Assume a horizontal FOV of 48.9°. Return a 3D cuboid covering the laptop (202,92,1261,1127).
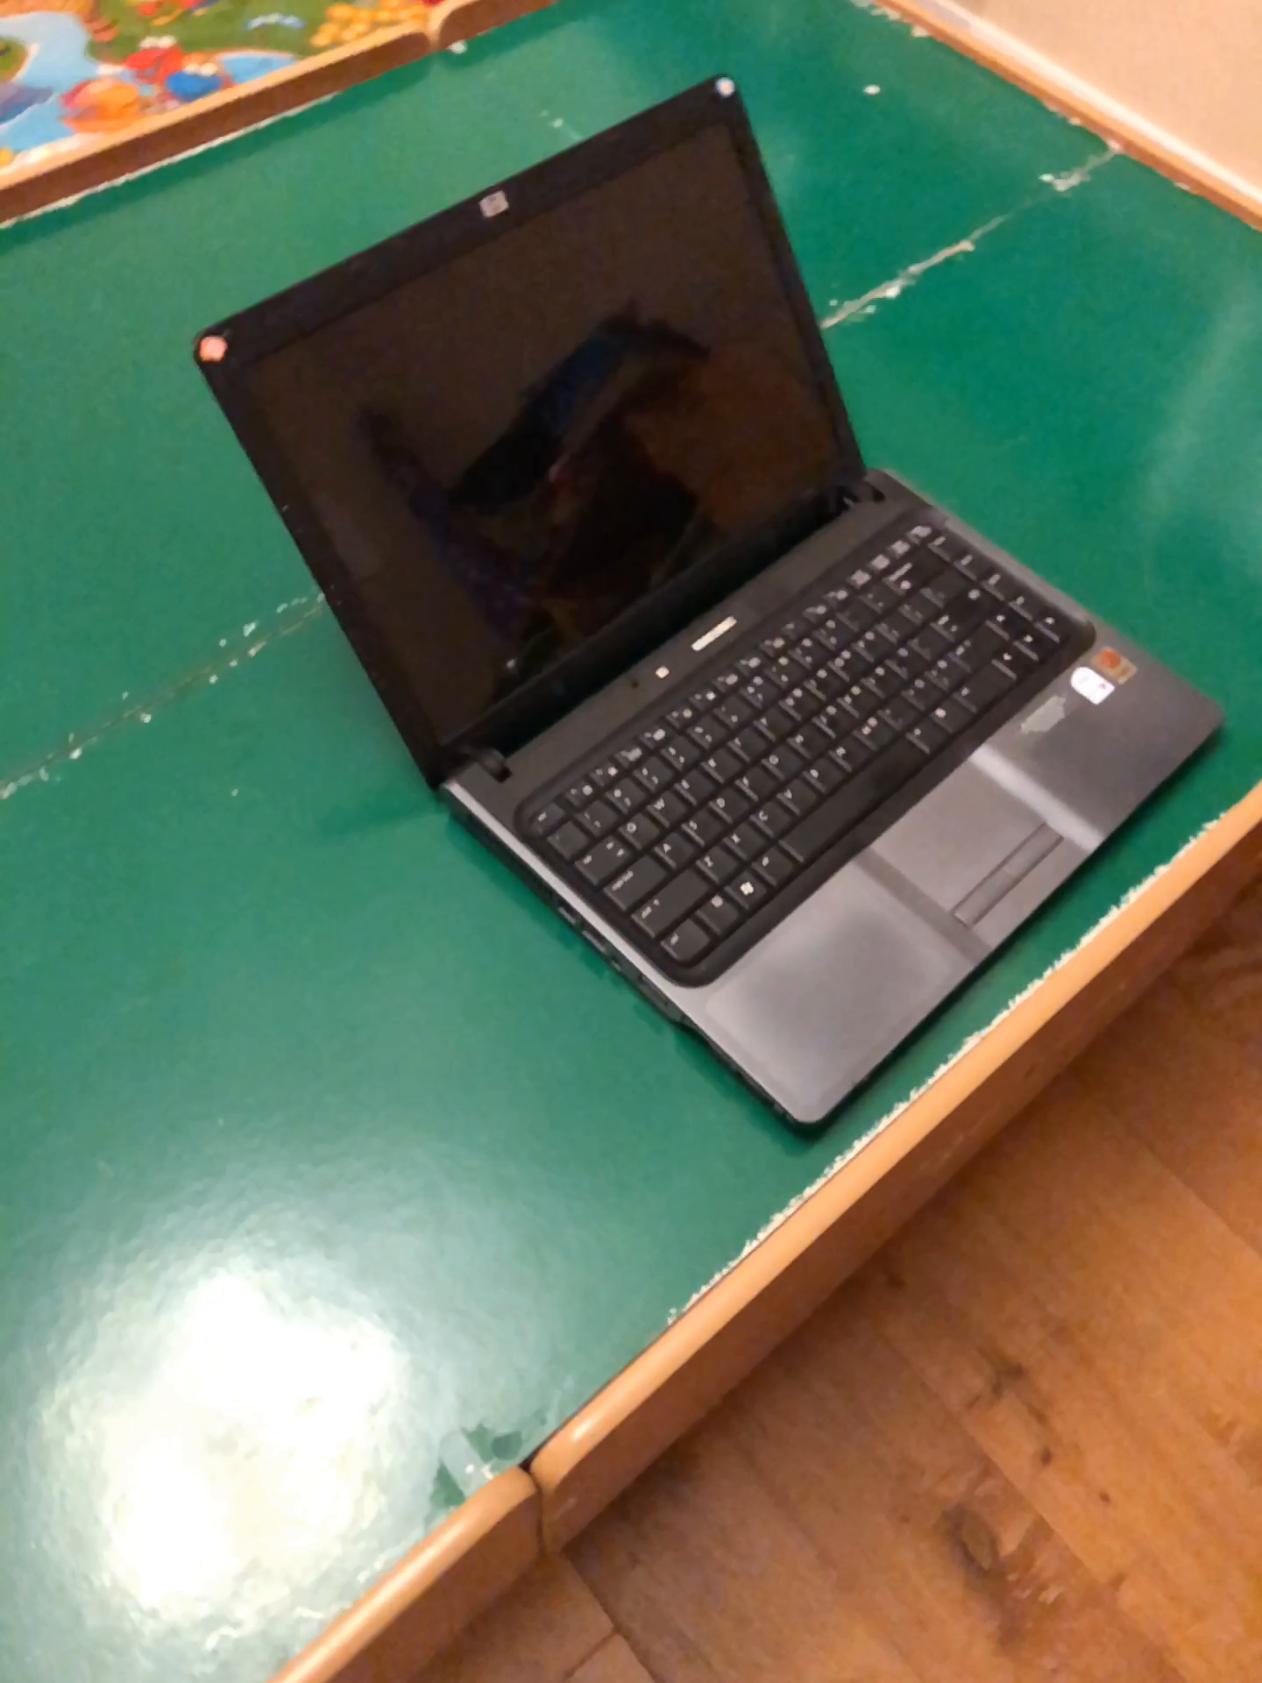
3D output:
[{"bbox_3d":[0.061,-0.132,0.653,0.323,0.172,0.374,-38,67,-24],"label":"laptop"}]
